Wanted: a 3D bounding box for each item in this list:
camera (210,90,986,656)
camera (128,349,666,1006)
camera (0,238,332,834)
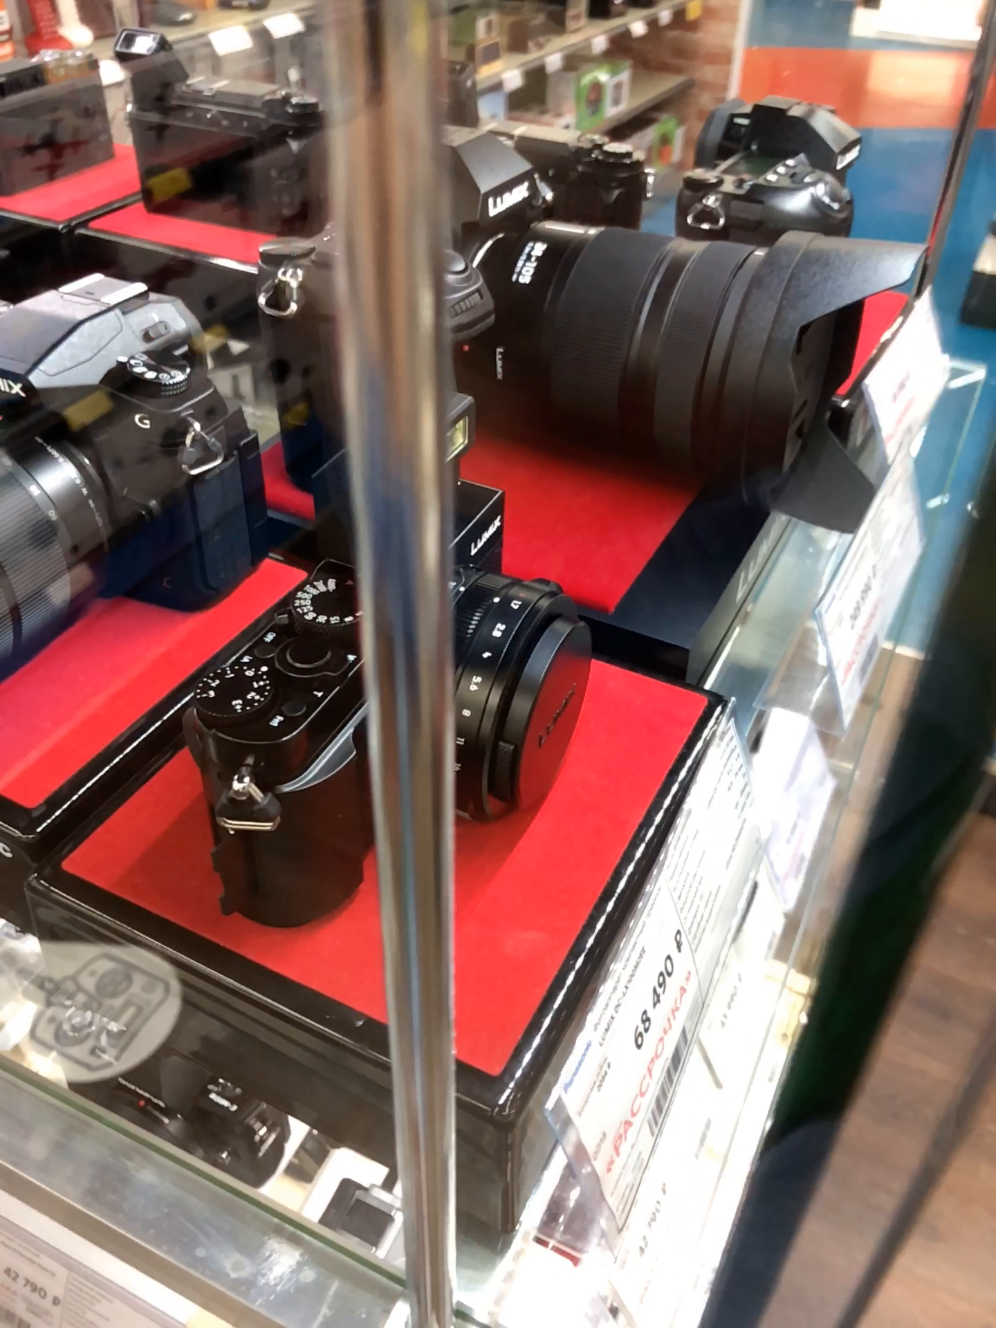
[{"bbox_3d":[0.043,-0.128,0.426,0.226,0.114,0.176,17,41,19],"label":"camera"},{"bbox_3d":[-0.016,-0.003,0.273,0.069,0.098,0.117,17,41,19],"label":"camera"},{"bbox_3d":[-0.132,-0.047,0.307,0.098,0.081,0.150,19,42,21],"label":"camera"}]
